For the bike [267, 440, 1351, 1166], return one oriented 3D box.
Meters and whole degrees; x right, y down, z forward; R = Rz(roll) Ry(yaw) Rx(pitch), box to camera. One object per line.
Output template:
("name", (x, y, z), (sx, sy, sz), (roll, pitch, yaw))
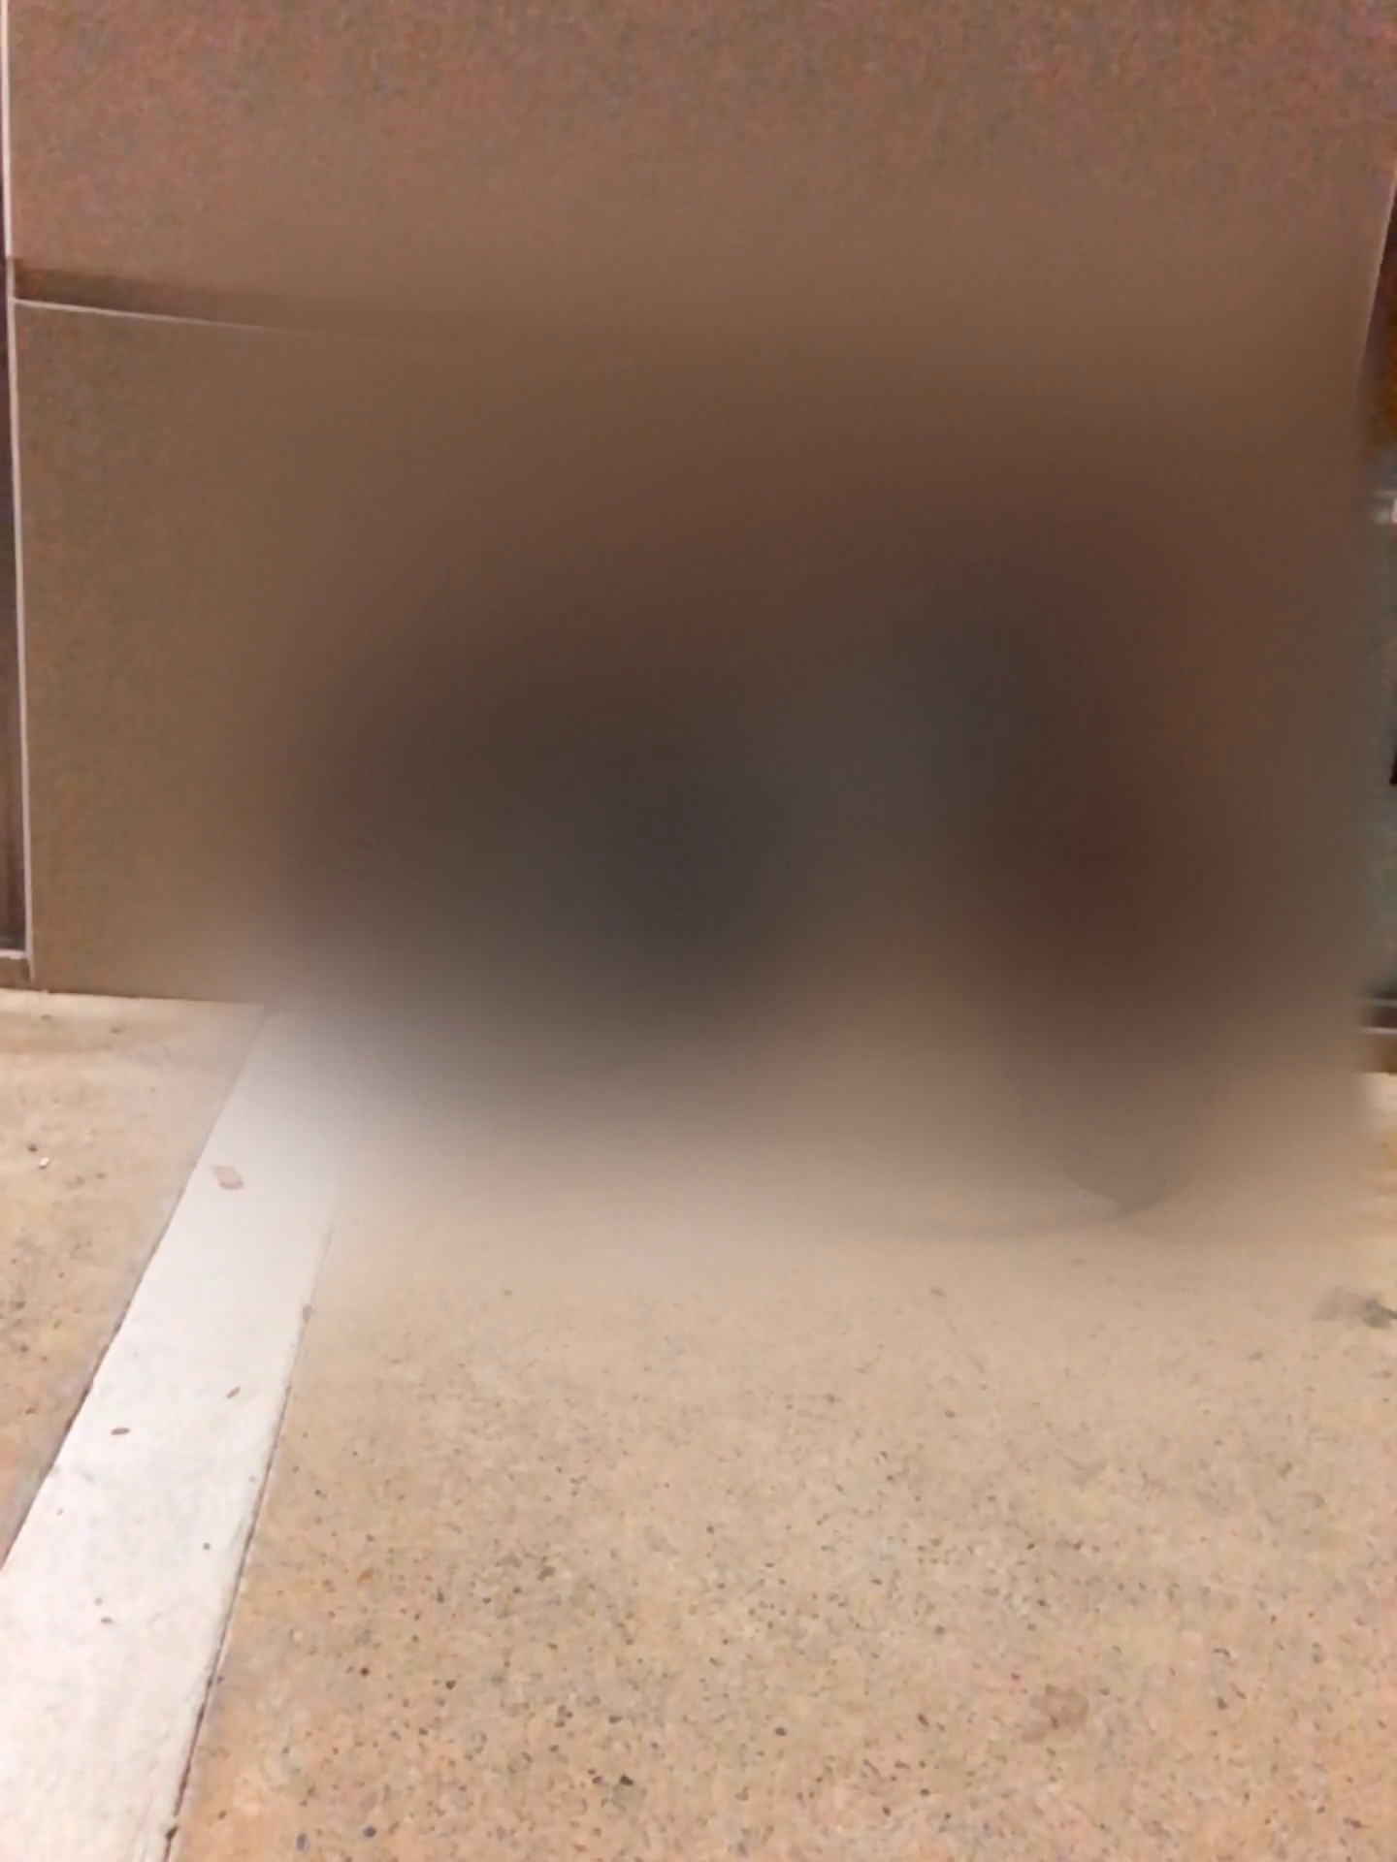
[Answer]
("bike", (0.166, -0.237, 2.695), (1.603, 1.063, 0.589), (4, 16, -3))
